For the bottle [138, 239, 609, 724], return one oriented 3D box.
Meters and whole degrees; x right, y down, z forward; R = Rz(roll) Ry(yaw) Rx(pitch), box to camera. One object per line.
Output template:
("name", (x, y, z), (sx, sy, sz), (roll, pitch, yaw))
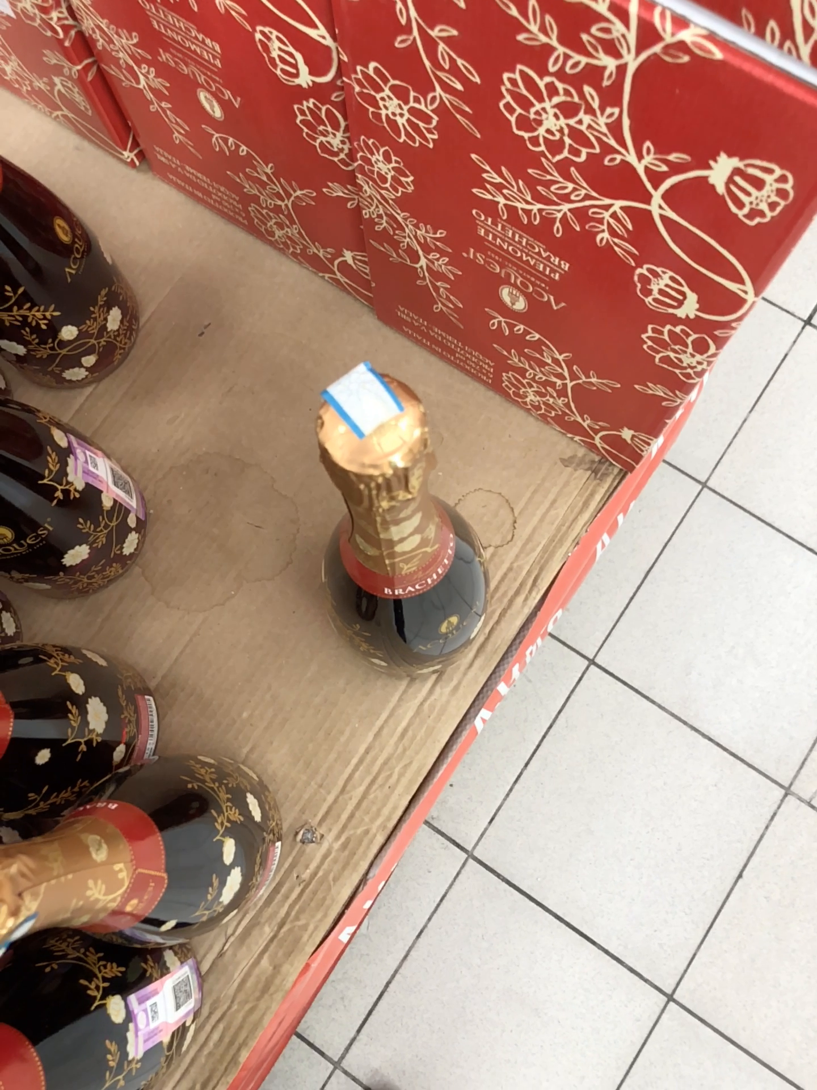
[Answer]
("bottle", (-0.006, 0.004, 0.403), (0.100, 0.280, 0.100), (-1, 77, 2))
